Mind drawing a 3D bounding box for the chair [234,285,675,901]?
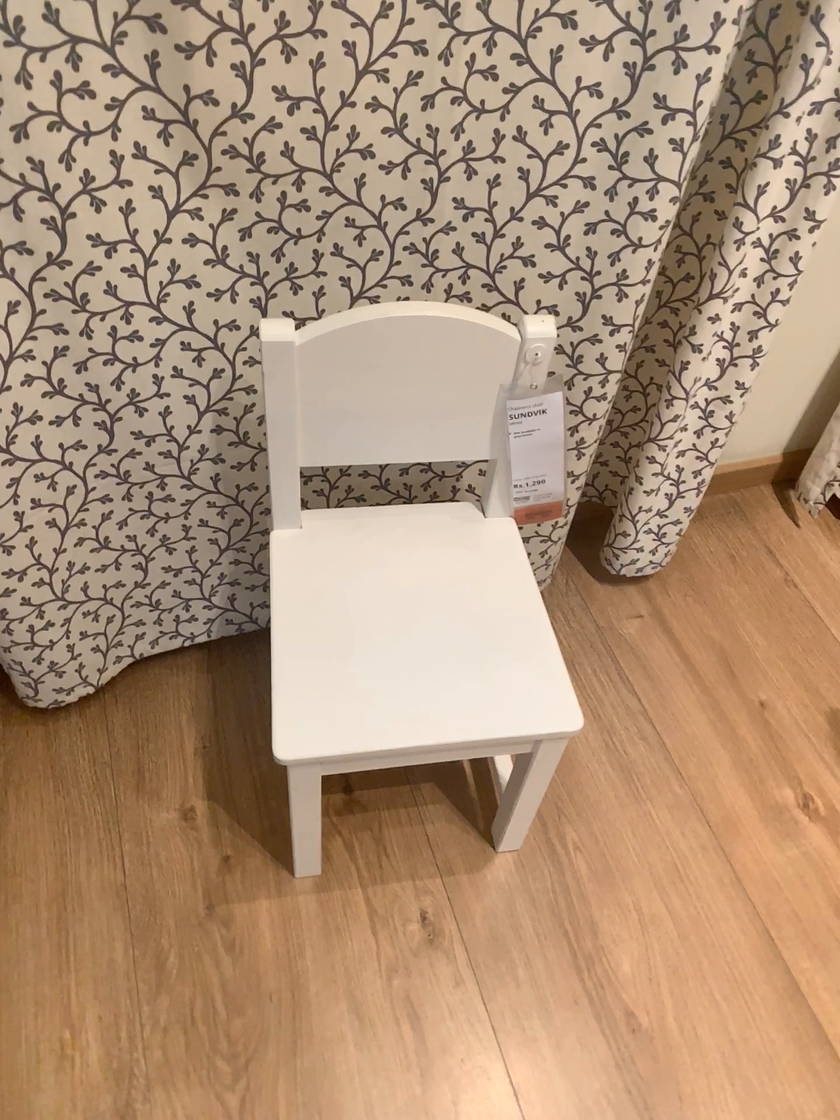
[{"bbox_3d":[-0.017,0.068,0.836,0.270,0.568,0.291,-5,50,-10],"label":"chair"}]
